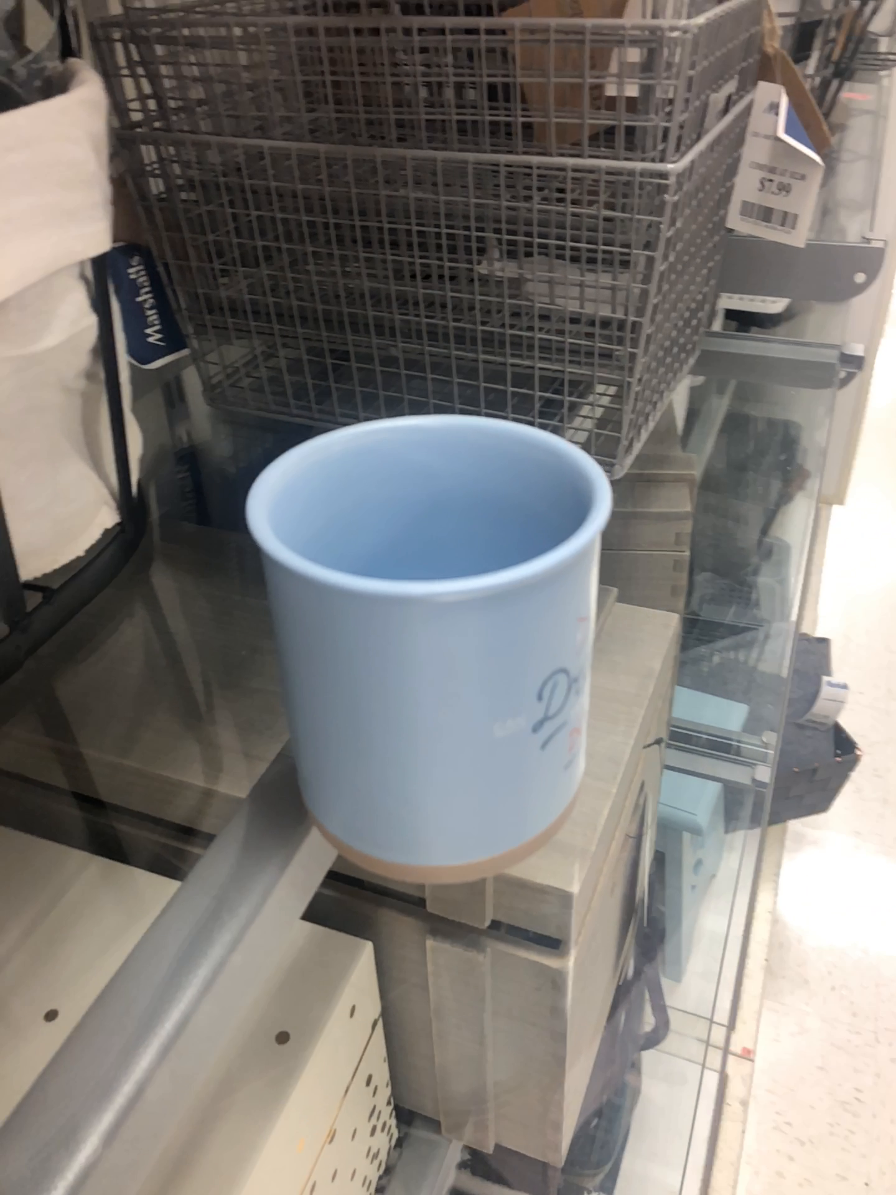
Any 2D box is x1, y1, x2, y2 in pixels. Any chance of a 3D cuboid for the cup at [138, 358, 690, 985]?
[{"bbox_3d":[0.003,0.009,0.285,0.100,0.100,0.139,10,37,17],"label":"cup"}]
